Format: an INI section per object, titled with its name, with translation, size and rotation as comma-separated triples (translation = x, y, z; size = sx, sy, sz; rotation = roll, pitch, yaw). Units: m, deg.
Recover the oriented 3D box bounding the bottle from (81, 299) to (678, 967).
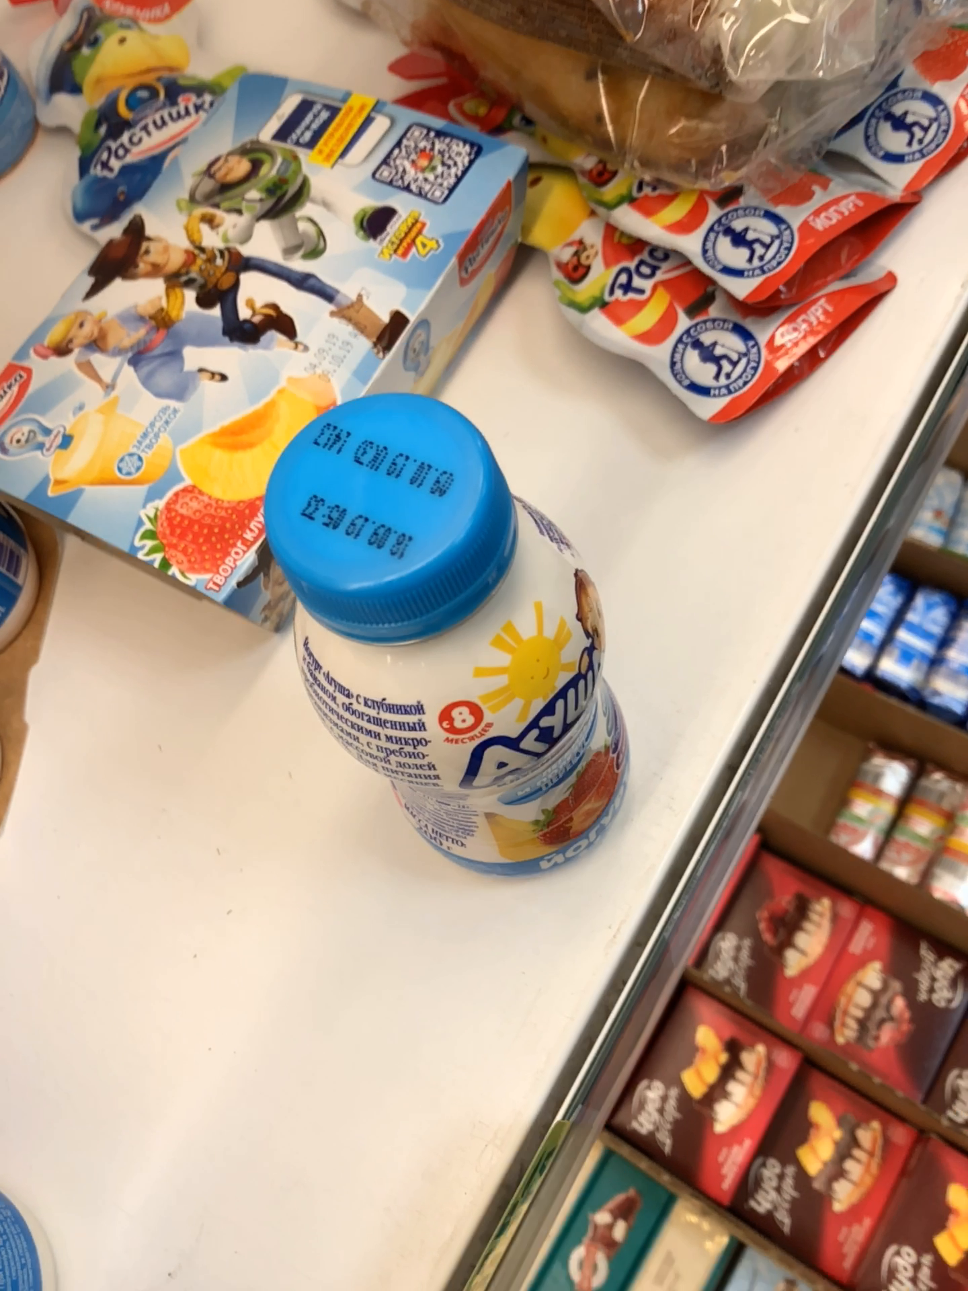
[bottle]
translation = -0.006, 0.010, 0.210
size = 0.060, 0.130, 0.060
rotation = -4, 65, 9
